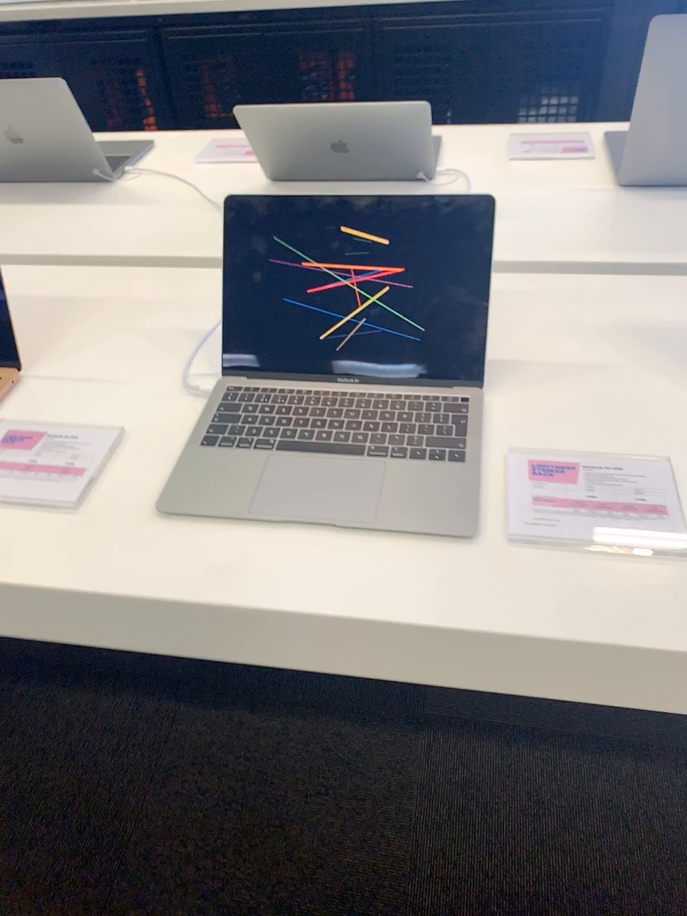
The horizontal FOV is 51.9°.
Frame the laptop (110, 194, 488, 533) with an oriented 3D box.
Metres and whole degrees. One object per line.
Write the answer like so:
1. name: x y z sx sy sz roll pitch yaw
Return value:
1. laptop: -0.010 -0.116 0.699 0.289 0.160 0.331 4 43 9
